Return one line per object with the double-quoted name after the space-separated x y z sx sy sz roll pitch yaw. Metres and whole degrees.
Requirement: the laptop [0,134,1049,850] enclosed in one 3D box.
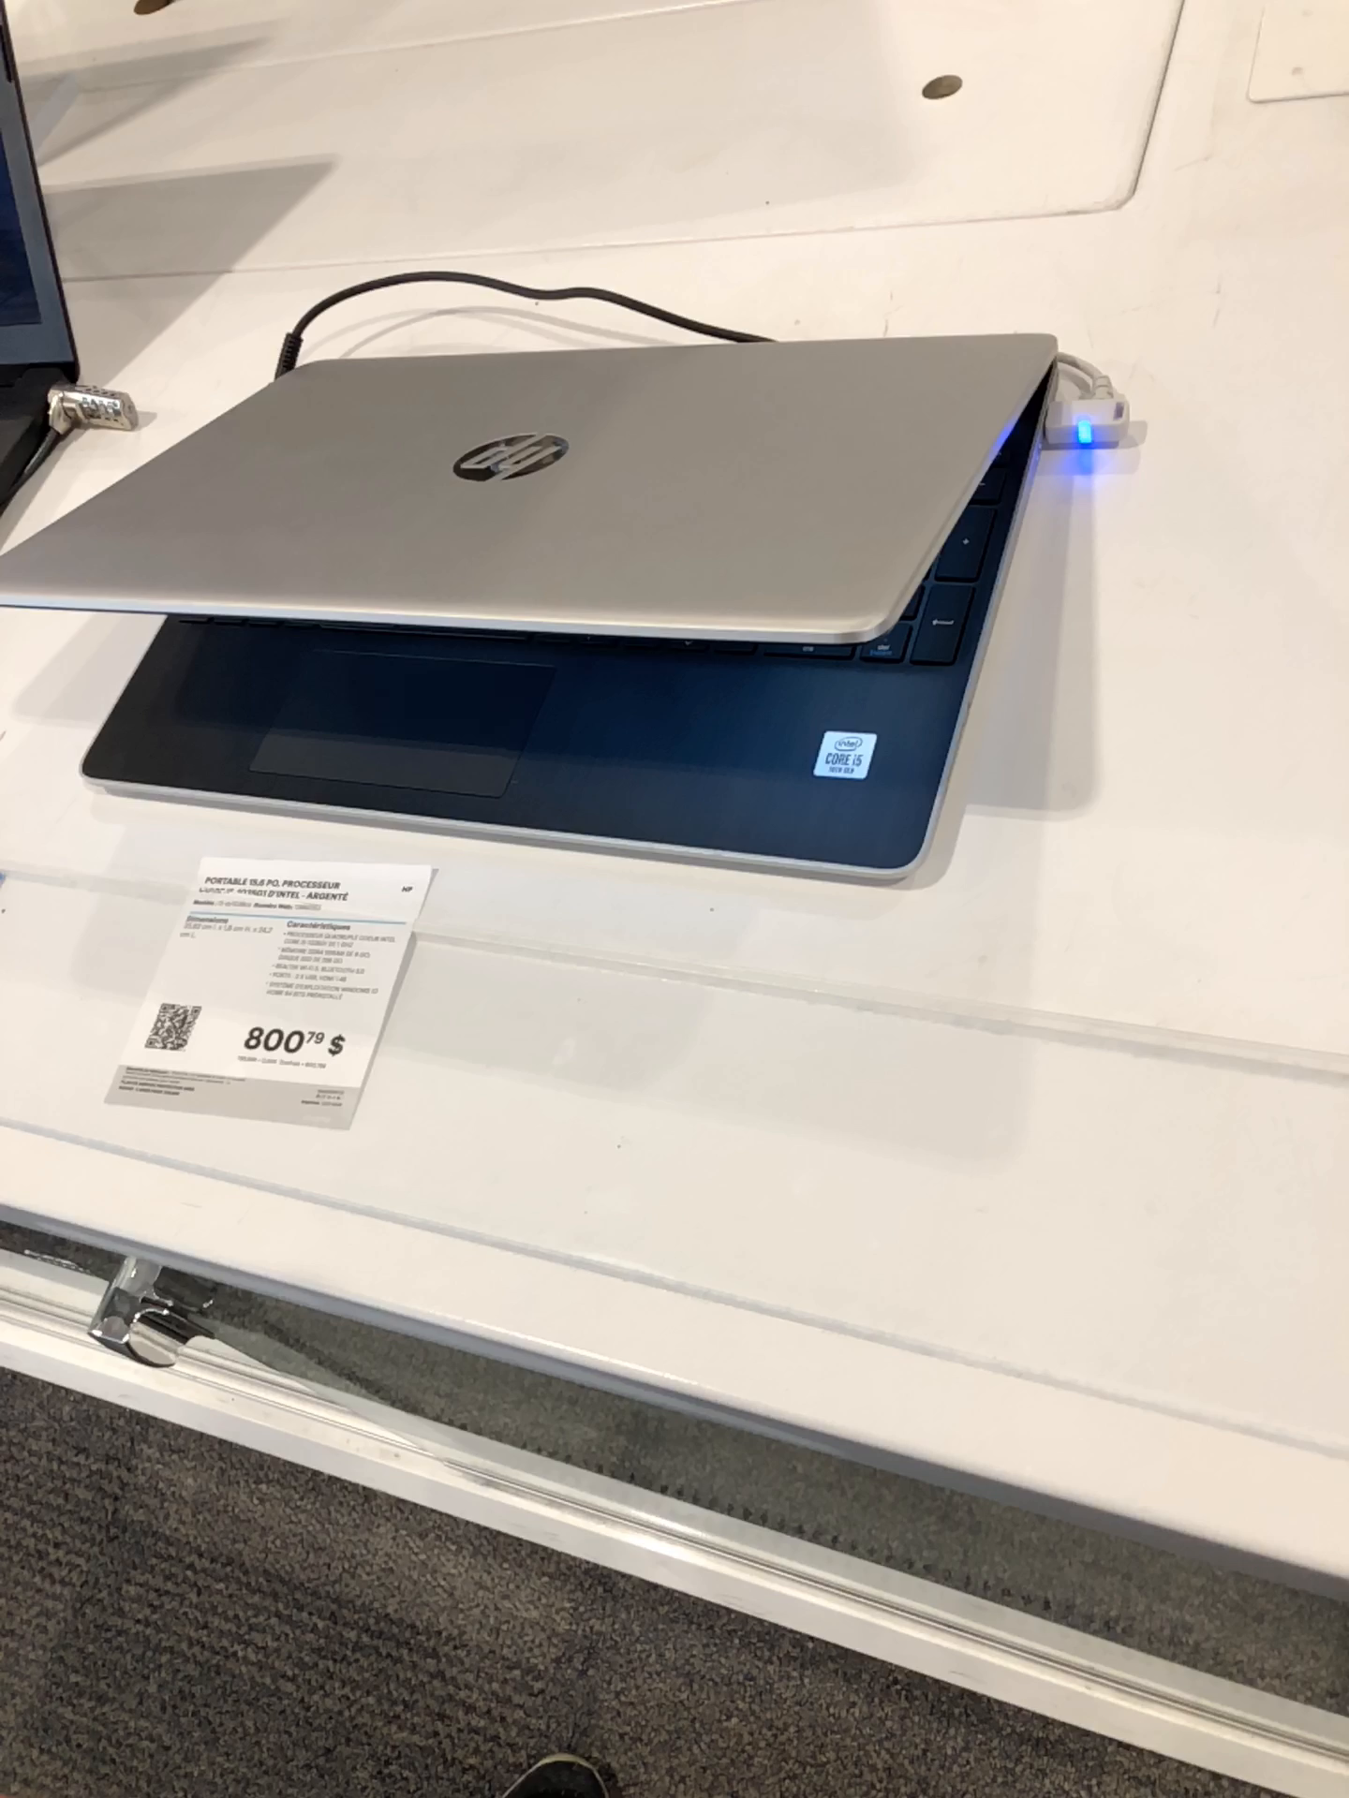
-0.060 -0.155 0.548 0.342 0.086 0.229 8 61 26 "laptop"
